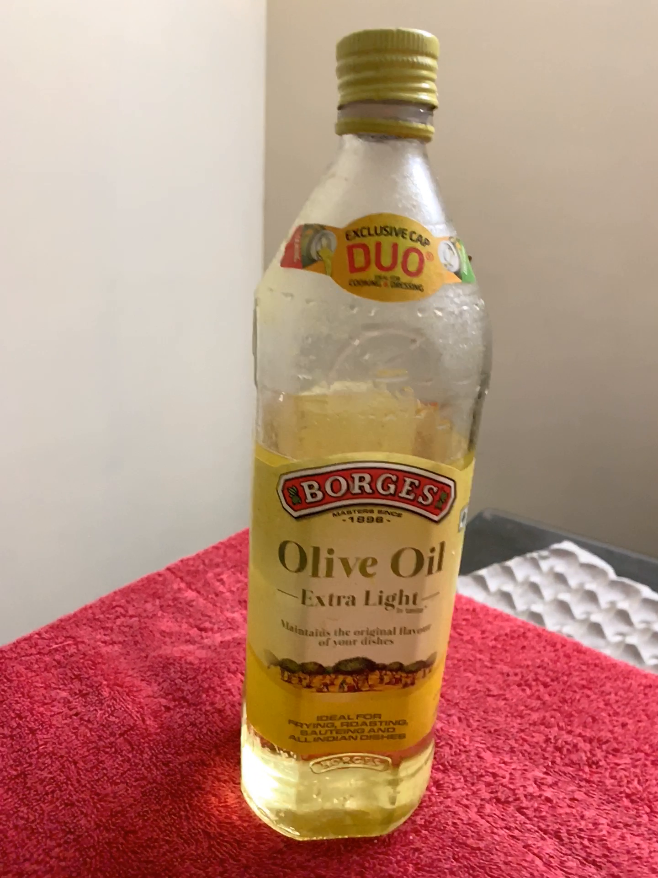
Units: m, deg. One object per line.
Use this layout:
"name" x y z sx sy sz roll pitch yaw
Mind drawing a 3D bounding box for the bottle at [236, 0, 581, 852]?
"bottle" 0.010 0.010 0.236 0.080 0.268 0.070 1 20 -5
